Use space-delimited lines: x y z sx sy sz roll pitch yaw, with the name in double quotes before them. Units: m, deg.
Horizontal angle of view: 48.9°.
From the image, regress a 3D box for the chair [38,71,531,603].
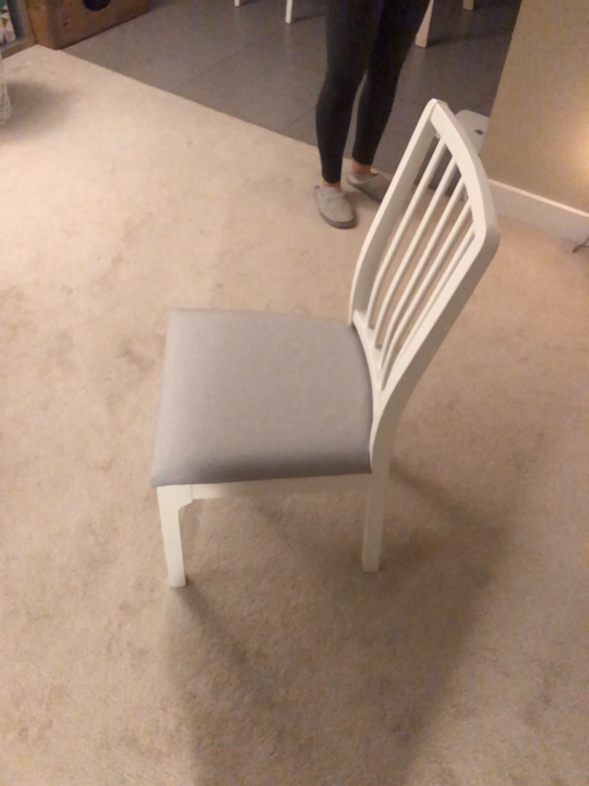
"chair" -0.028 -0.027 1.230 0.550 0.905 0.503 1 50 -2
